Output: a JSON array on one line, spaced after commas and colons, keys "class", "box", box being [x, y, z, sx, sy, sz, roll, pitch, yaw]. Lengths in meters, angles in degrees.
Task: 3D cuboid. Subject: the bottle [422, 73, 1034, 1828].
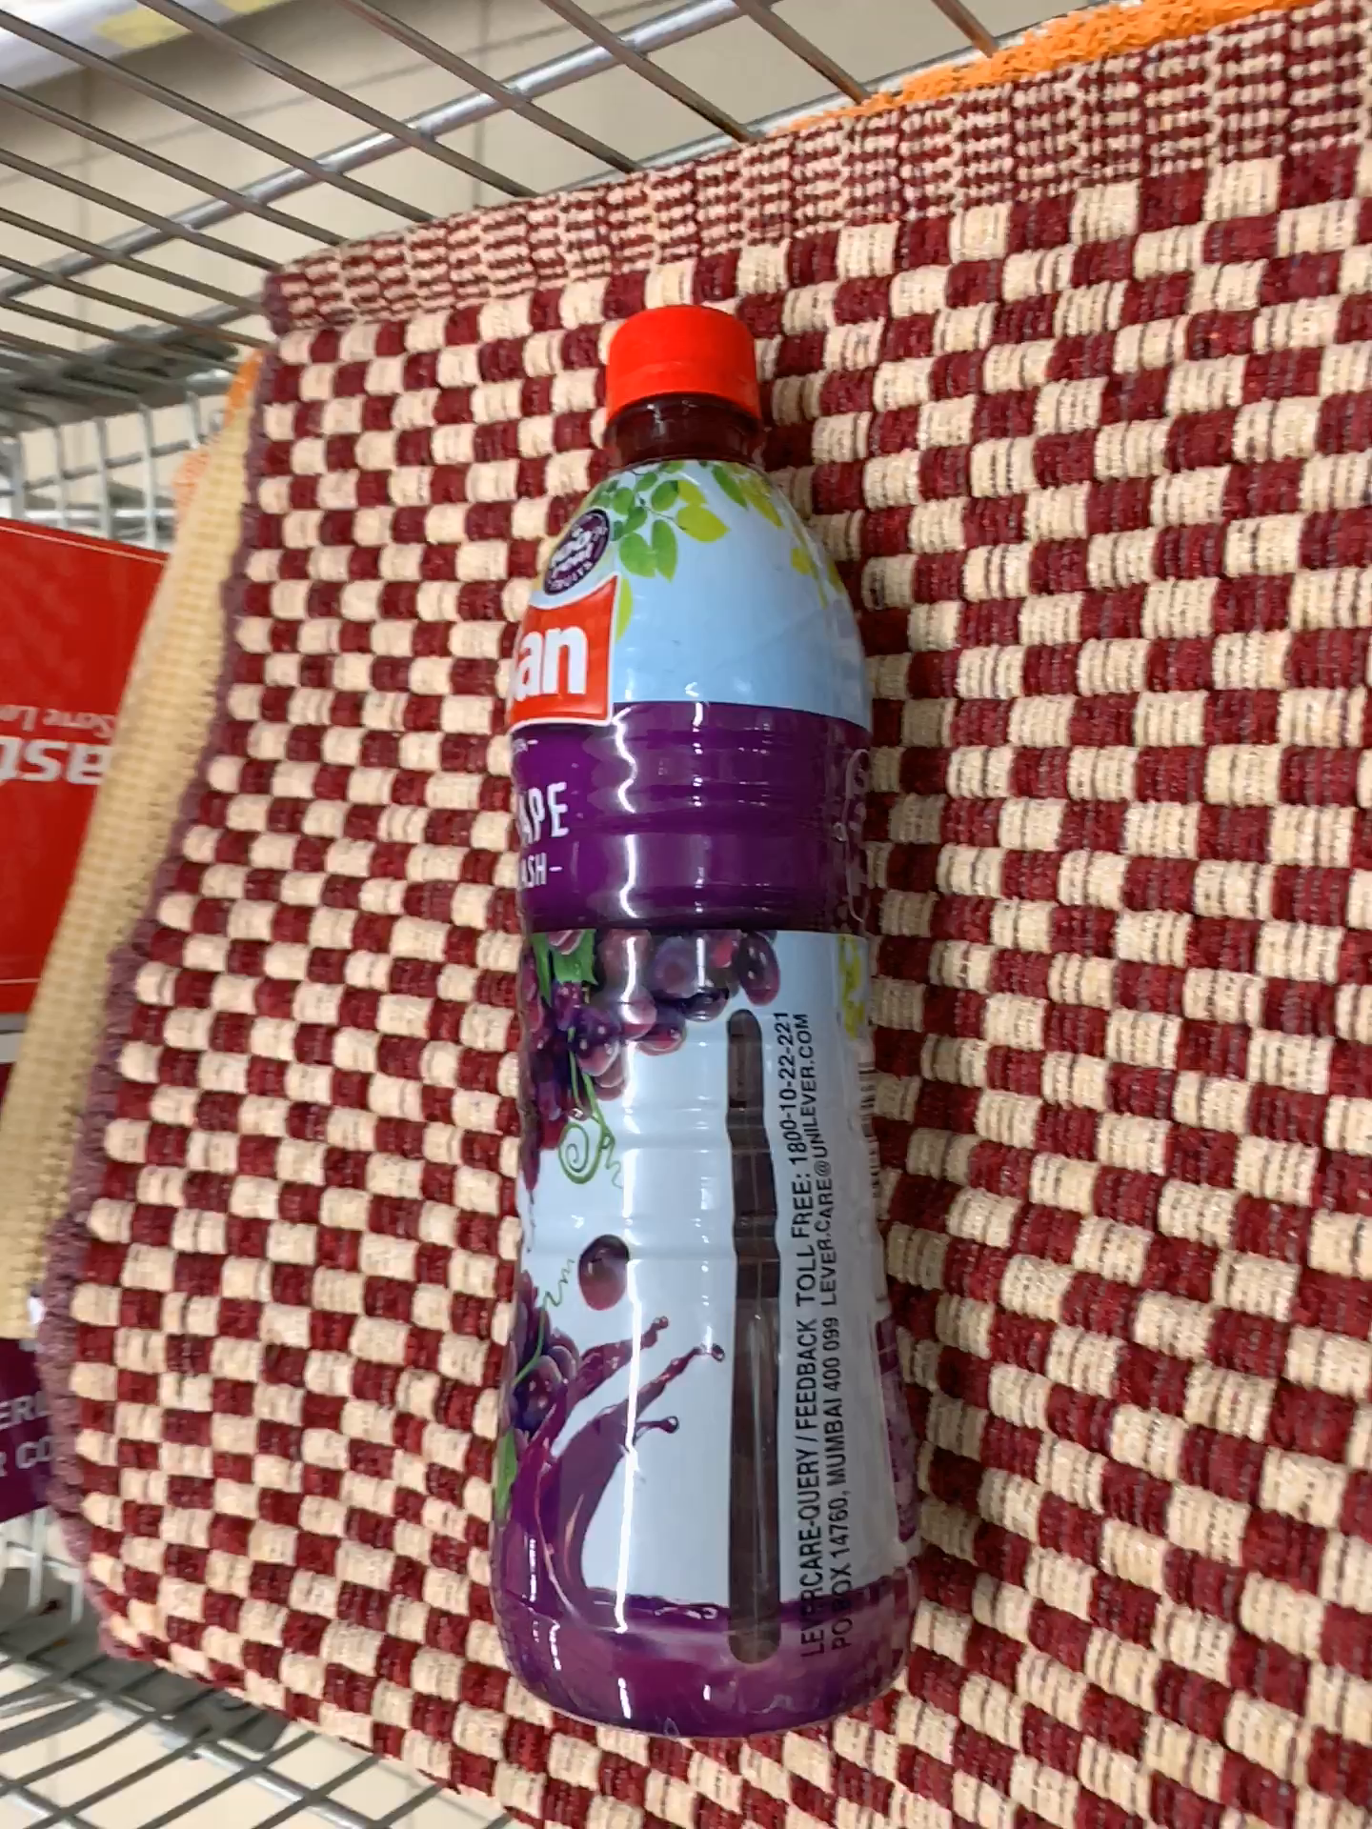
[{"class": "bottle", "box": [0.000, 0.003, 0.241, 0.080, 0.080, 0.240, 158, 112, -75]}]
